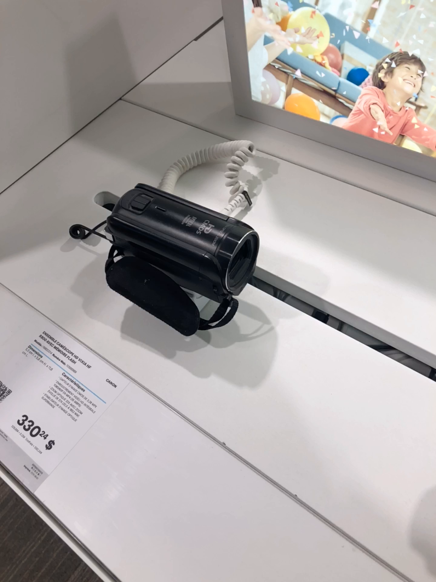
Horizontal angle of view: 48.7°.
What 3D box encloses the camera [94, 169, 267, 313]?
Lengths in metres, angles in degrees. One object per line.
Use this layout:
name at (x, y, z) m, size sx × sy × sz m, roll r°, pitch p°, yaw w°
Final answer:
camera at (-0.027, -0.039, 0.357) m, size 0.113 × 0.050 × 0.050 m, roll 26°, pitch 62°, yaw 25°
